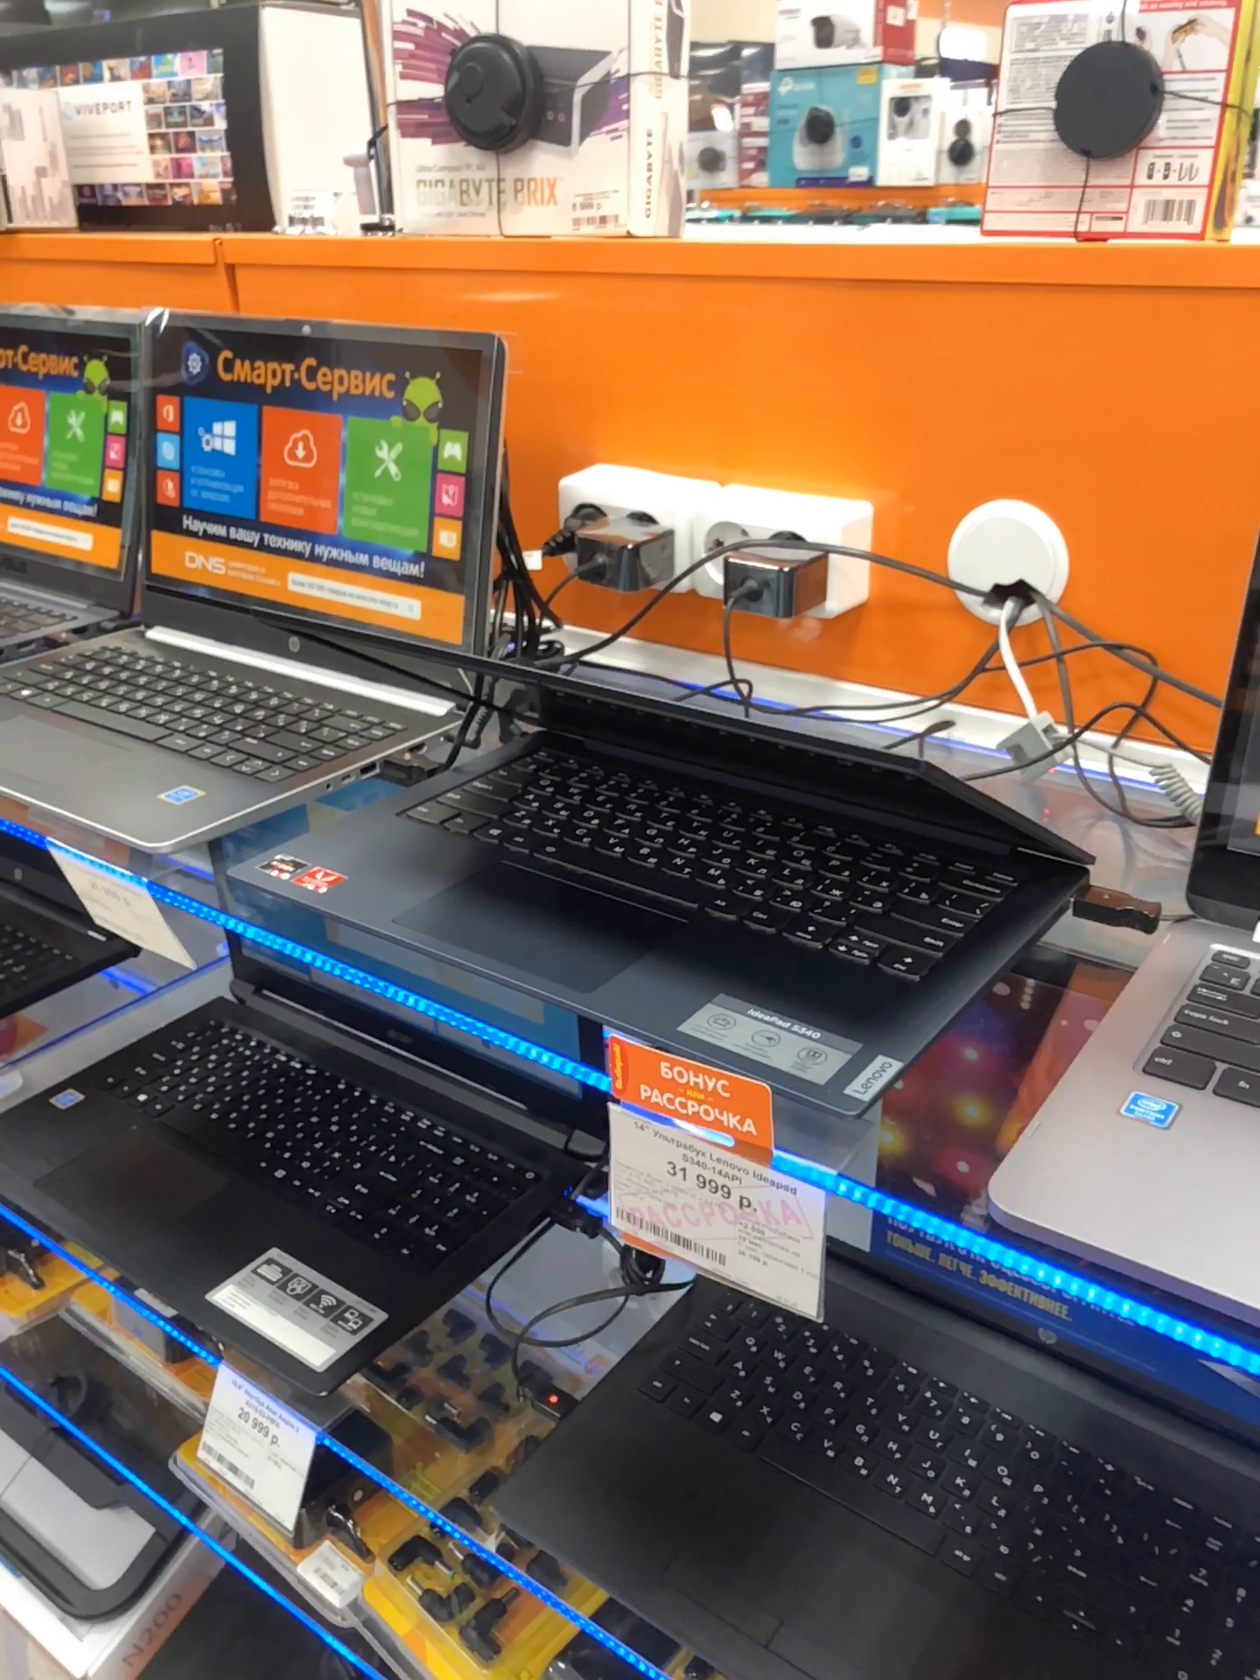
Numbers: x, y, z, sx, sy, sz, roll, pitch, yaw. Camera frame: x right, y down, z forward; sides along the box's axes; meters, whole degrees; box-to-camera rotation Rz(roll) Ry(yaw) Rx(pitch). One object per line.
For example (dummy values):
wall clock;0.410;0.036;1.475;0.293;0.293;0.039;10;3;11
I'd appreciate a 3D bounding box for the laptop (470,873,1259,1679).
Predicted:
laptop;0.161;0.209;0.600;0.354;0.226;0.258;16;32;35

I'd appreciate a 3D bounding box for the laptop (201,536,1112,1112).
laptop;0.007;-0.035;0.568;0.302;0.108;0.204;16;30;35

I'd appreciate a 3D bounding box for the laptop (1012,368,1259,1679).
laptop;0.311;0.004;0.372;0.331;0.202;0.258;15;29;30

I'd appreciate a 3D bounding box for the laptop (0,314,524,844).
laptop;-0.267;-0.169;0.772;0.302;0.200;0.250;17;31;34
